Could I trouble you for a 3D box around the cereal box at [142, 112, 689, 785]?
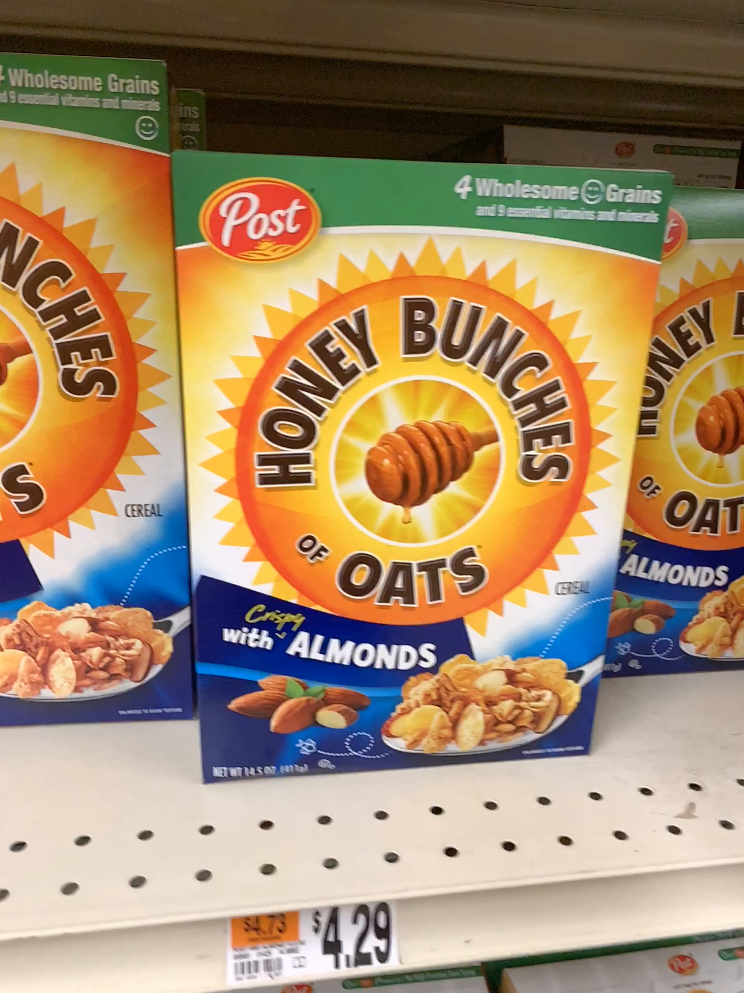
[{"bbox_3d":[0.012,-0.011,0.348,0.200,0.279,0.060,-1,19,-8],"label":"cereal box"}]
